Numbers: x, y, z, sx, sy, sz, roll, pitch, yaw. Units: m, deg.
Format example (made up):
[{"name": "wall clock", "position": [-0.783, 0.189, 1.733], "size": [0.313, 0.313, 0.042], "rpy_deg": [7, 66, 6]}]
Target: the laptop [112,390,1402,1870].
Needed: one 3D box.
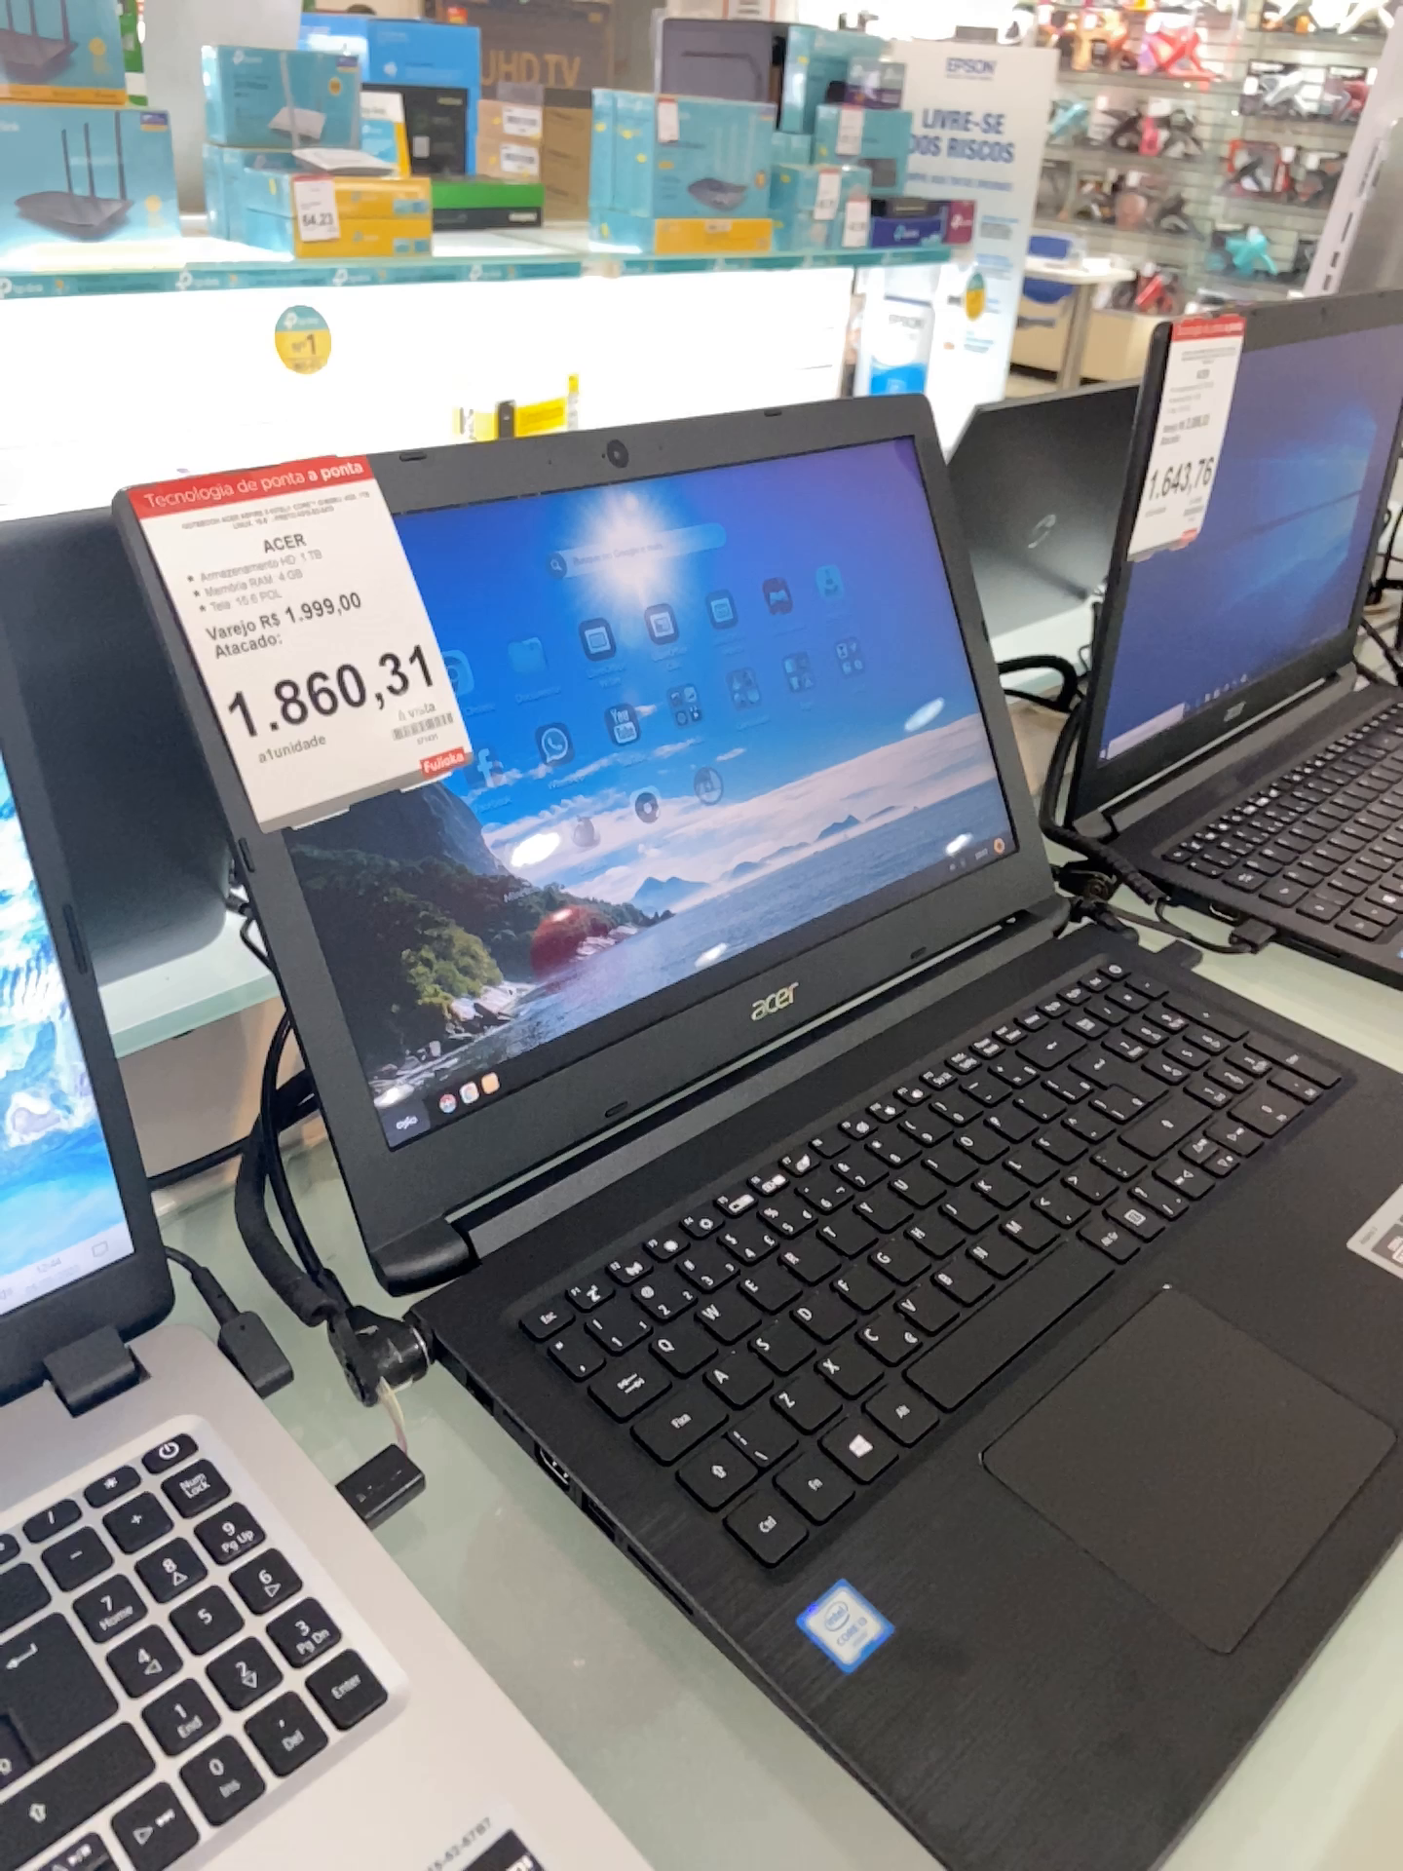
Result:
[{"name": "laptop", "position": [0.088, -0.017, 0.477], "size": [0.380, 0.215, 0.380], "rpy_deg": [-23, 40, -38]}]
